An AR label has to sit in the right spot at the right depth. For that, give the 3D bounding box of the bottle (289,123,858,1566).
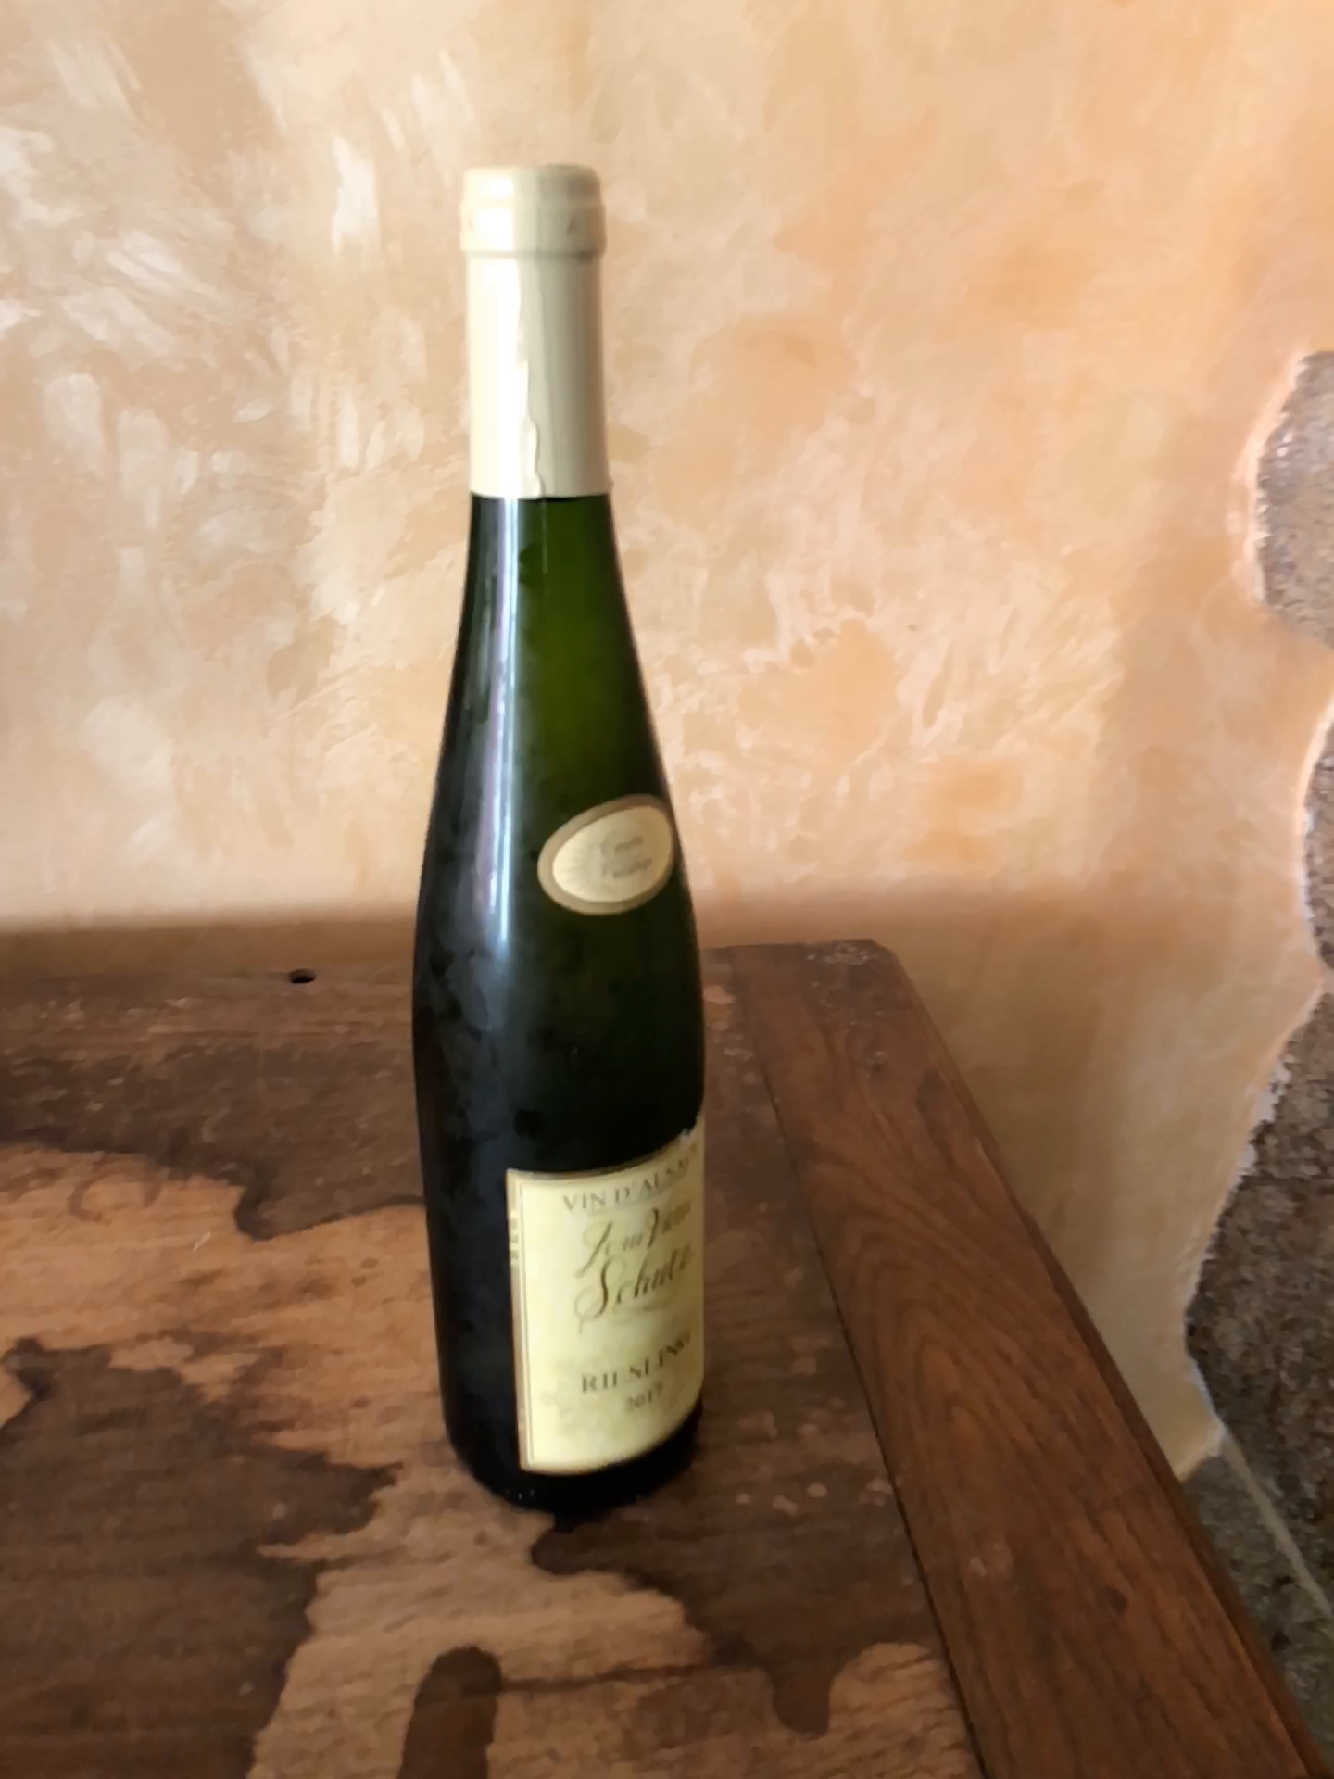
[{"bbox_3d":[-0.025,0.000,0.347,0.080,0.318,0.080,2,25,-1],"label":"bottle"}]
